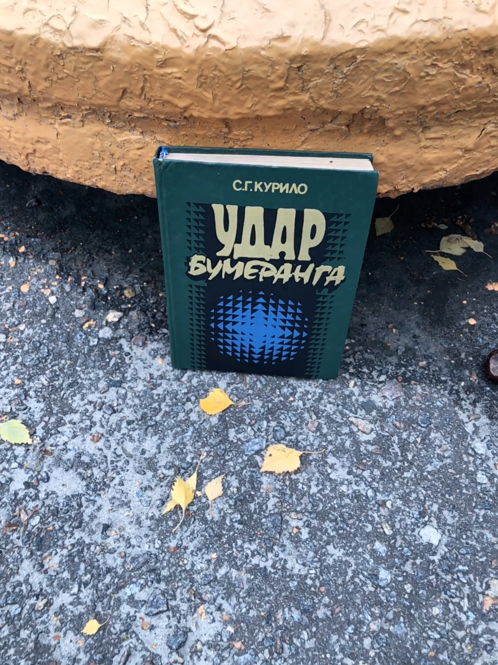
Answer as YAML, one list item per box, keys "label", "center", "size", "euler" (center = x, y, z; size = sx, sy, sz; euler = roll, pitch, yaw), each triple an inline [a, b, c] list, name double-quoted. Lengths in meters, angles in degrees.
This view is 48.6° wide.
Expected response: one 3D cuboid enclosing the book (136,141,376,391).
- label: "book"
  center: [0.006, -0.034, 0.371]
  size: [0.131, 0.179, 0.029]
  euler: [5, 46, 7]
